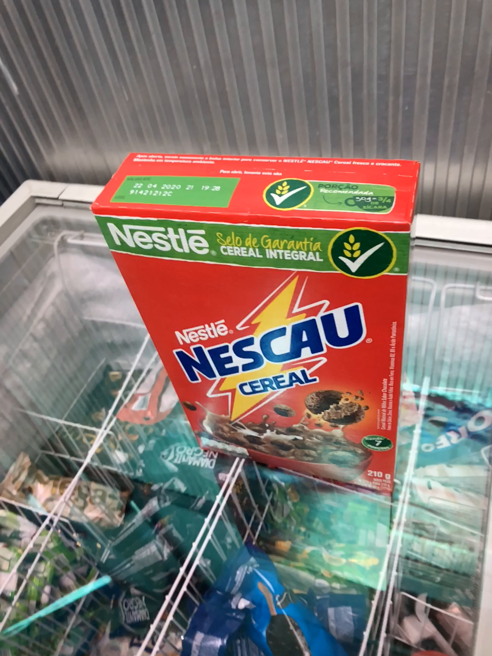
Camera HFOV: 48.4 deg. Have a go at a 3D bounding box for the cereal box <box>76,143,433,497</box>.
[{"bbox_3d":[0.021,0.011,0.363,0.170,0.258,0.050,9,51,20],"label":"cereal box"}]
